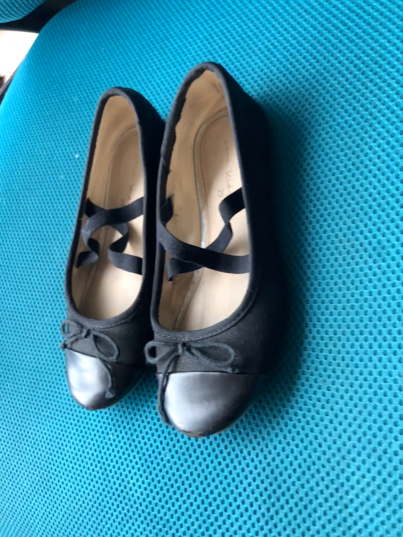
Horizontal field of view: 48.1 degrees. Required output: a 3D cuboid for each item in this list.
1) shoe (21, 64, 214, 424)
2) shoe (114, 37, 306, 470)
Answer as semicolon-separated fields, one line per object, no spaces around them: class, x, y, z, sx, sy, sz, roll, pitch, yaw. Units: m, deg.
shoe;-0.049;-0.014;0.278;0.081;0.050;0.193;0;79;34
shoe;0.008;-0.009;0.232;0.069;0.050;0.190;-2;78;34
